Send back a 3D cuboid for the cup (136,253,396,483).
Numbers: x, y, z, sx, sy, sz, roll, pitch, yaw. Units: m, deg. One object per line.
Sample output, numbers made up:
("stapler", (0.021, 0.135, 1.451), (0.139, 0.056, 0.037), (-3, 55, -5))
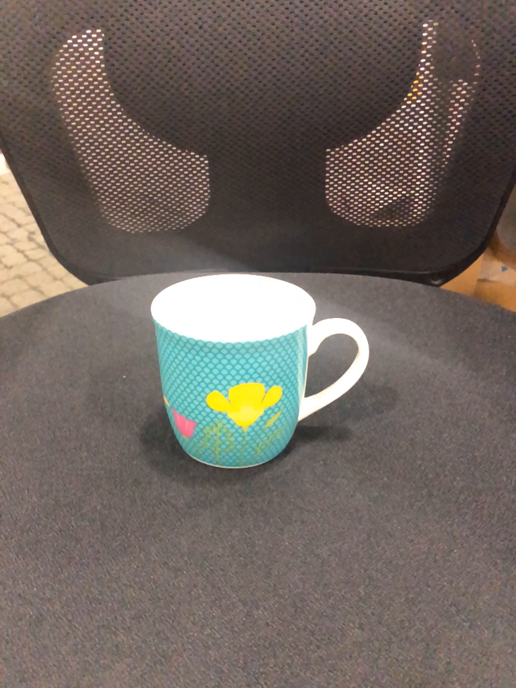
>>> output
("cup", (-0.001, 0.009, 0.292), (0.110, 0.080, 0.070), (-6, 33, -10))
